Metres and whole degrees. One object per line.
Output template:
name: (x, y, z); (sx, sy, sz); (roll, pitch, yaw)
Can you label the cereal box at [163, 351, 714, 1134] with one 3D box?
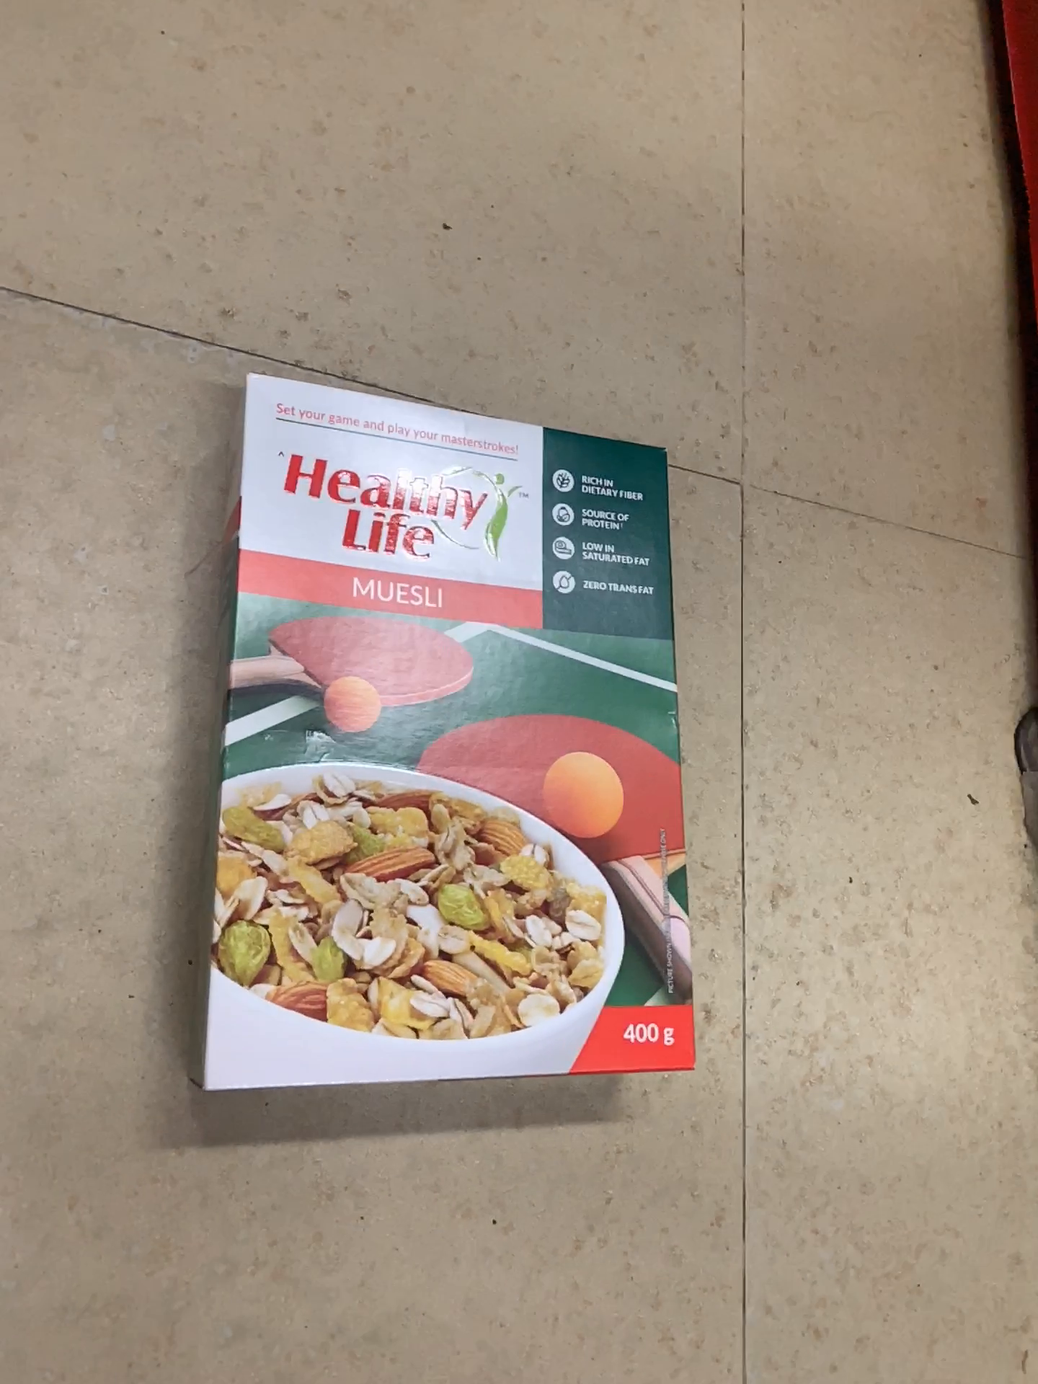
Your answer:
cereal box: (-0.028, 0.020, 0.372); (0.160, 0.080, 0.230); (6, 74, -22)
